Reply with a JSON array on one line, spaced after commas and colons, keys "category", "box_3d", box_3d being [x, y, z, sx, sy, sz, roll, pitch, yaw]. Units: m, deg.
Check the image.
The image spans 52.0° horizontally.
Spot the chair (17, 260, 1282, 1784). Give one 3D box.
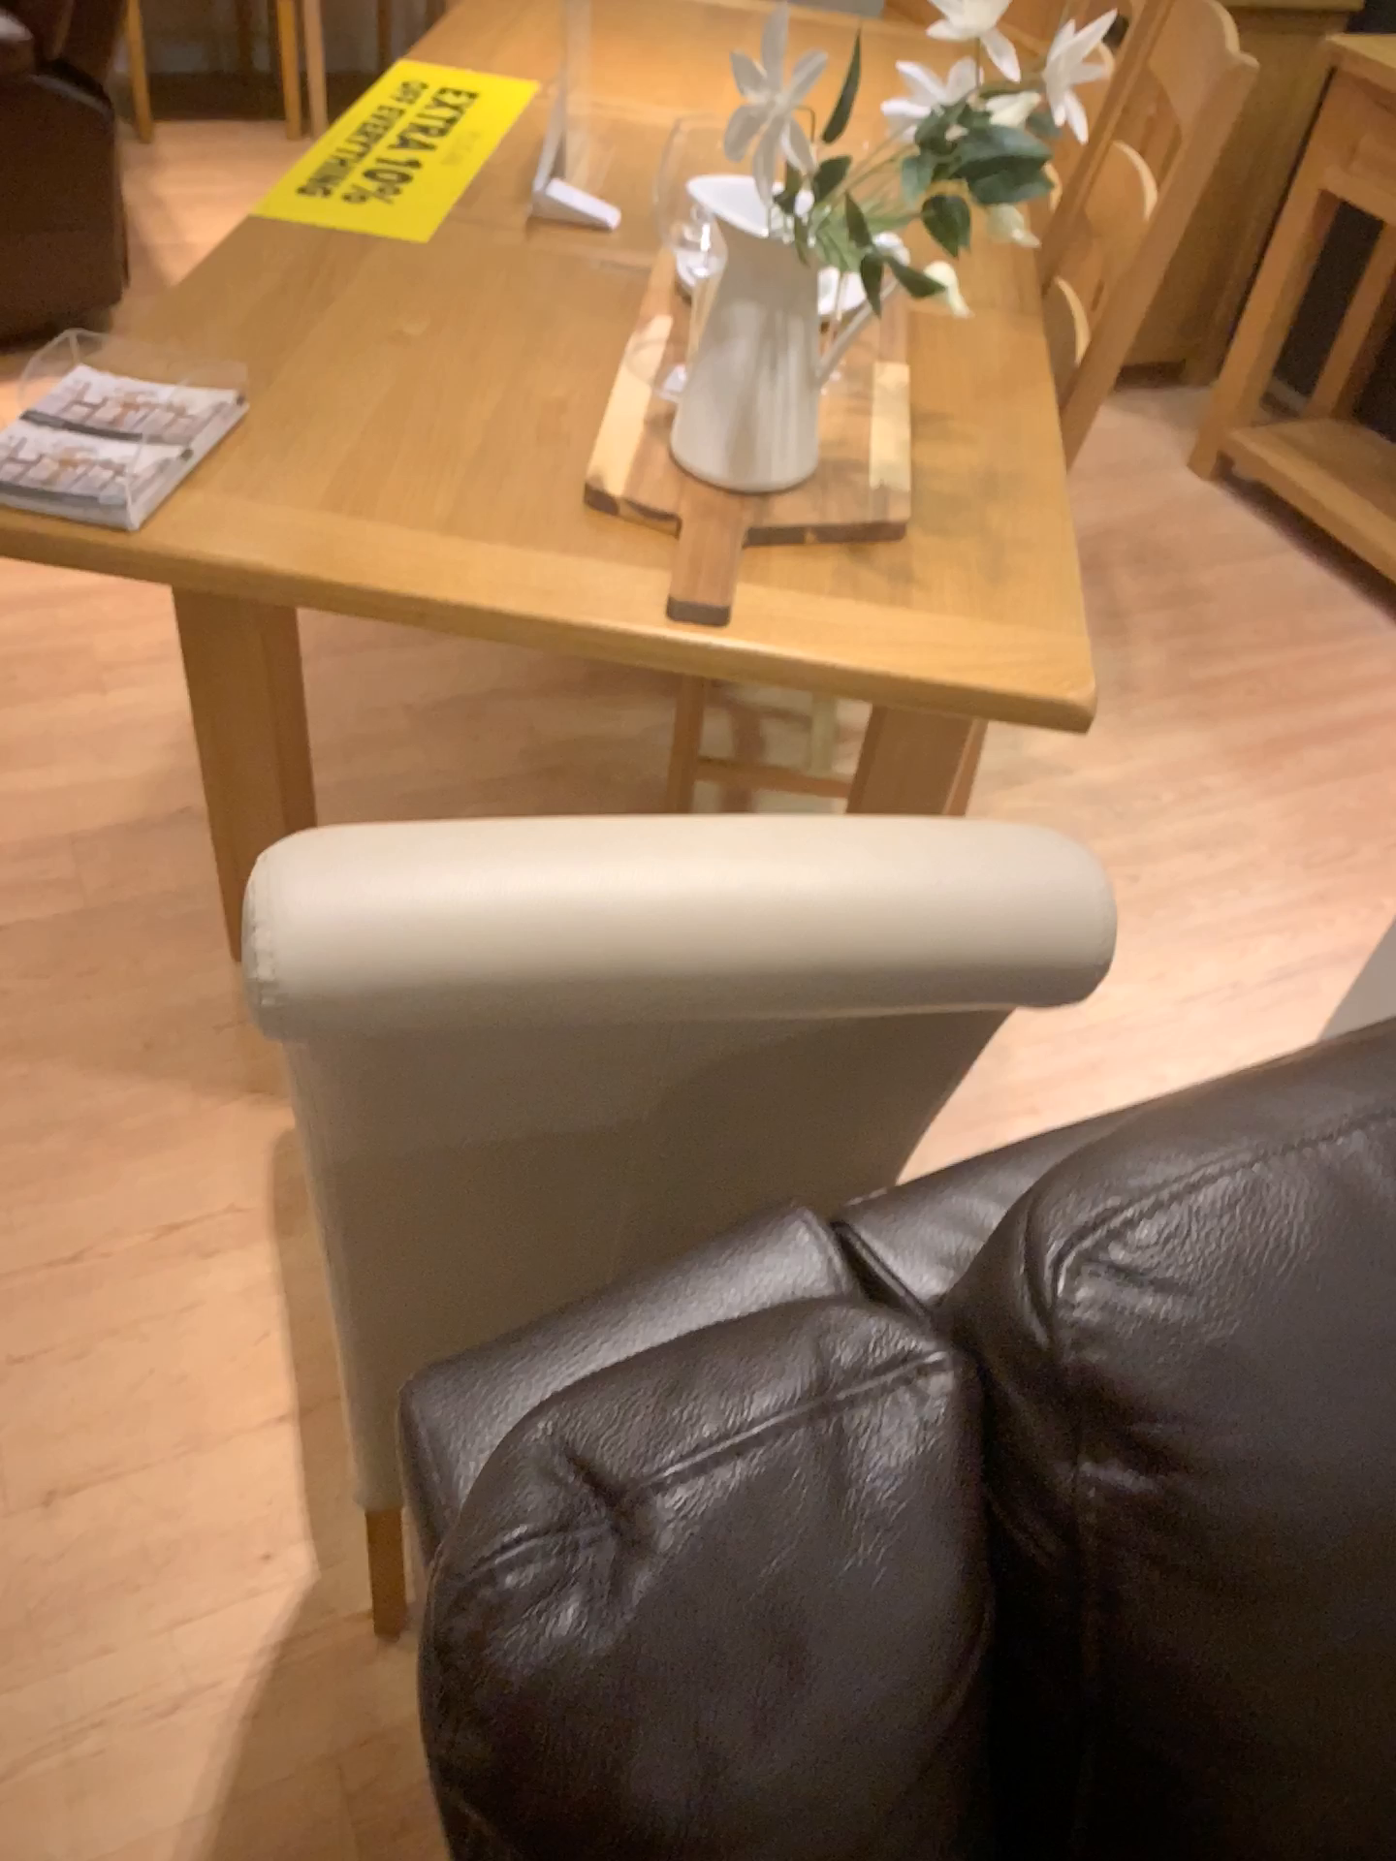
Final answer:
[{"category": "chair", "box_3d": [-0.099, 0.118, 1.083, 0.476, 0.944, 0.639, -1, 45, -11]}]
